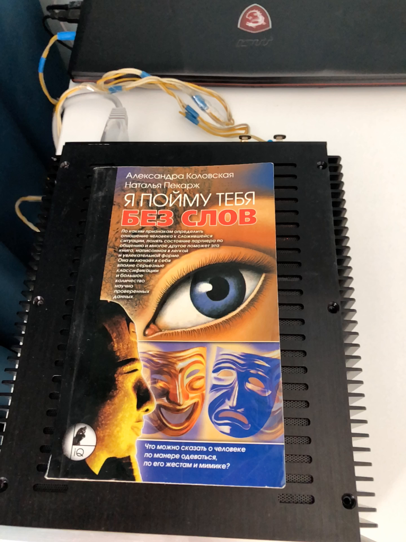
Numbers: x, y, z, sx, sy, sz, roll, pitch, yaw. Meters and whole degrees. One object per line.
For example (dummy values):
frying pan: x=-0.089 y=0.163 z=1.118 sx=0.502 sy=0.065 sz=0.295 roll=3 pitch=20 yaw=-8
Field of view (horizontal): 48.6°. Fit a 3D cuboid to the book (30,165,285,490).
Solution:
book: x=-0.019 y=0.022 z=0.261 sx=0.123 sy=0.023 sz=0.183 roll=0 pitch=67 yaw=5
